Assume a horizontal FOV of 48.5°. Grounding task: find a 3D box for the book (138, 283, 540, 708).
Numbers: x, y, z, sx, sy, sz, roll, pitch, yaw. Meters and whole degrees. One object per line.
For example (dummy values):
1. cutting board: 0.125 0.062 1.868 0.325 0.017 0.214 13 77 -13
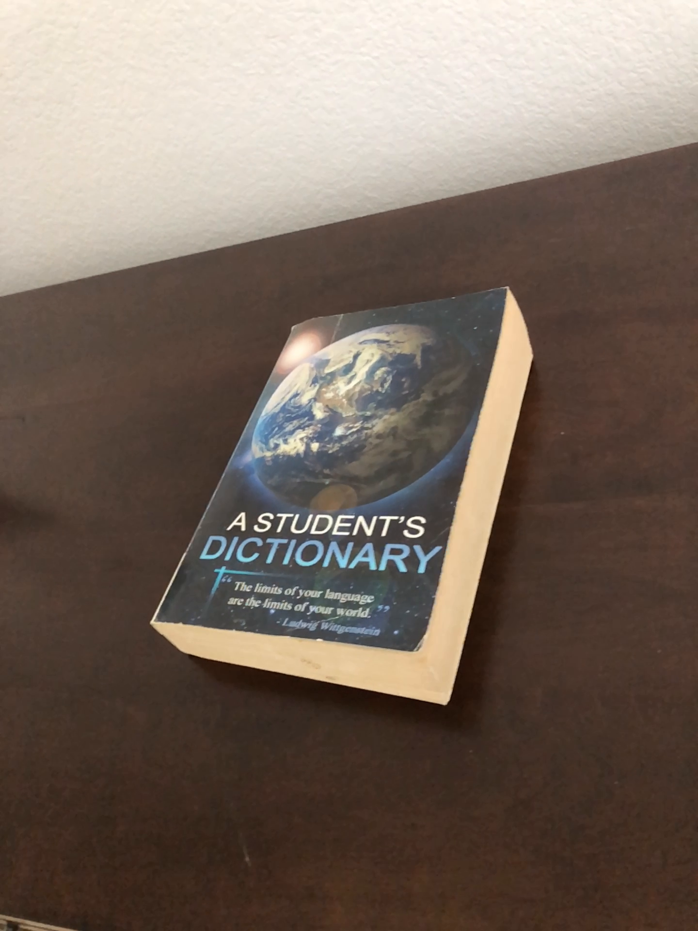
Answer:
1. book: 0.003 0.005 0.379 0.140 0.040 0.202 -3 51 32
